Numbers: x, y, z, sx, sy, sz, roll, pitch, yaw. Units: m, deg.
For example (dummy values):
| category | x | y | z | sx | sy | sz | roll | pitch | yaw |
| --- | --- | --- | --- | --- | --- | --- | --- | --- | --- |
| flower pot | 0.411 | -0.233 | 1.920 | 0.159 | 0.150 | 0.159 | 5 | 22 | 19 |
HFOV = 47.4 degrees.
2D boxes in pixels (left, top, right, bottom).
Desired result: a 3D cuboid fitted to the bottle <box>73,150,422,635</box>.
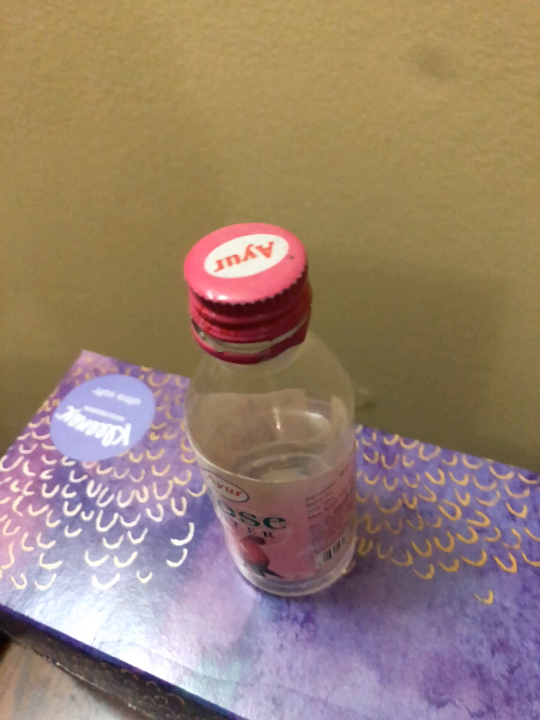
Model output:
| category | x | y | z | sx | sy | sz | roll | pitch | yaw |
| --- | --- | --- | --- | --- | --- | --- | --- | --- | --- |
| bottle | 0.001 | 0.014 | 0.135 | 0.040 | 0.100 | 0.040 | -4 | 47 | 4 |
